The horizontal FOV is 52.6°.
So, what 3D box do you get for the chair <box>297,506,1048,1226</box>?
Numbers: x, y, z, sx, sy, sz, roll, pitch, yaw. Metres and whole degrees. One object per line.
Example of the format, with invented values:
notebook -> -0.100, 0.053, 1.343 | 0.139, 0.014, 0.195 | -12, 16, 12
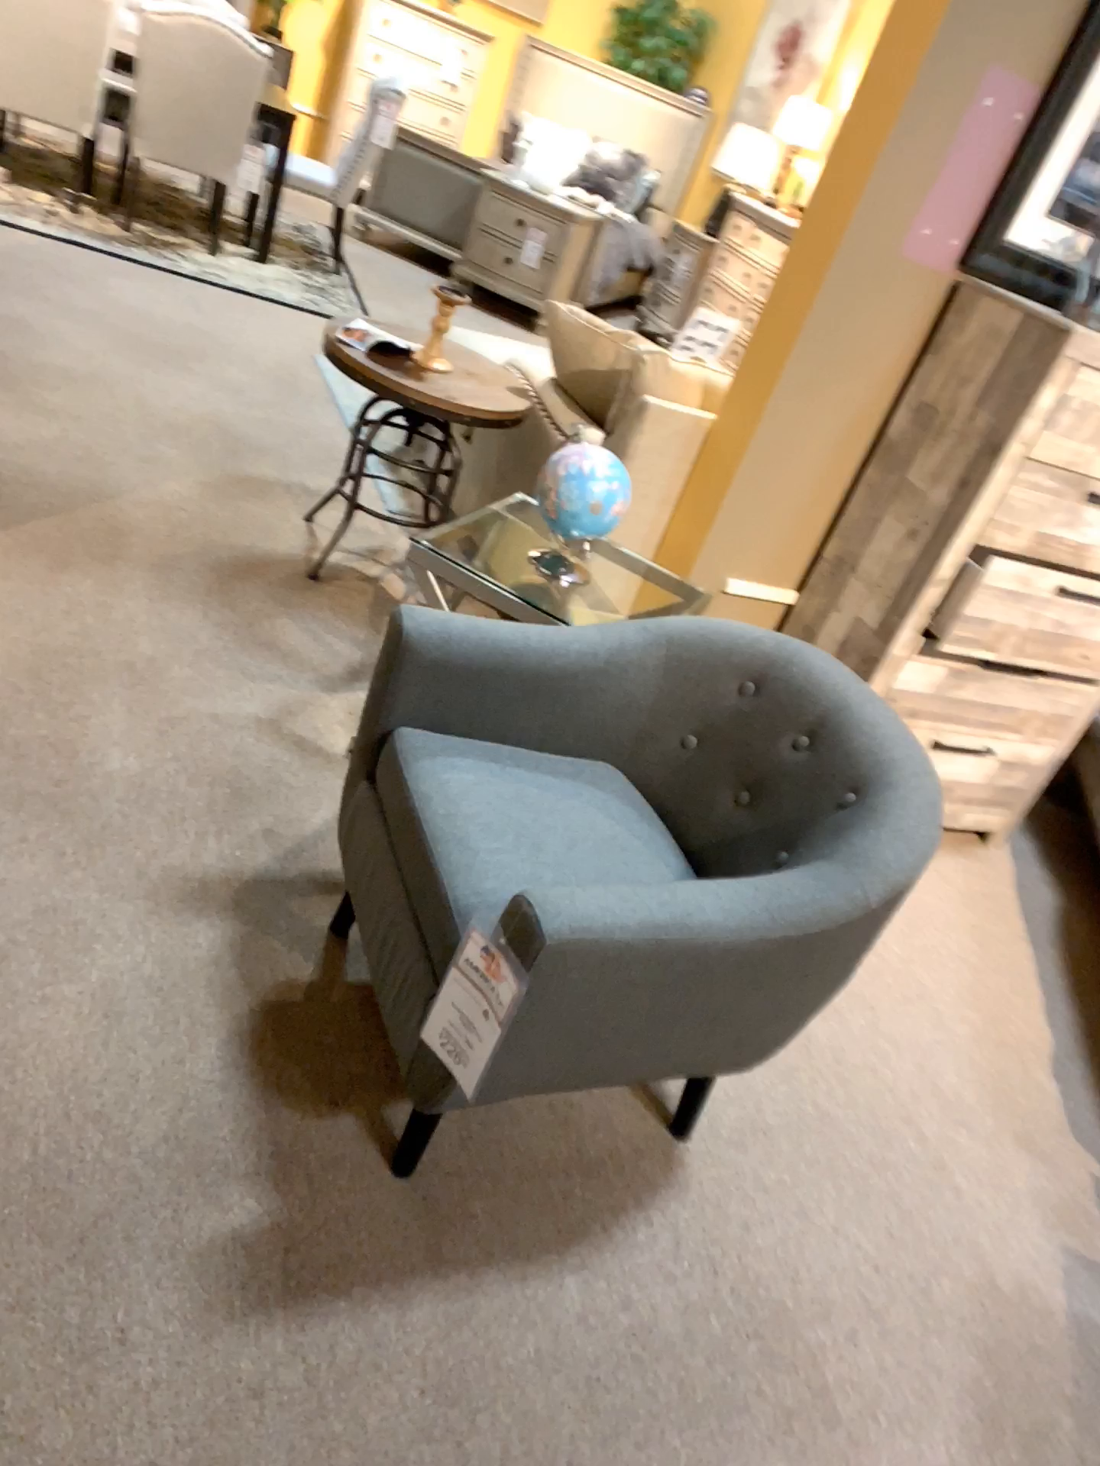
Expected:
chair -> 0.096, 0.190, 1.756 | 0.742, 0.702, 0.750 | 6, 33, -26
